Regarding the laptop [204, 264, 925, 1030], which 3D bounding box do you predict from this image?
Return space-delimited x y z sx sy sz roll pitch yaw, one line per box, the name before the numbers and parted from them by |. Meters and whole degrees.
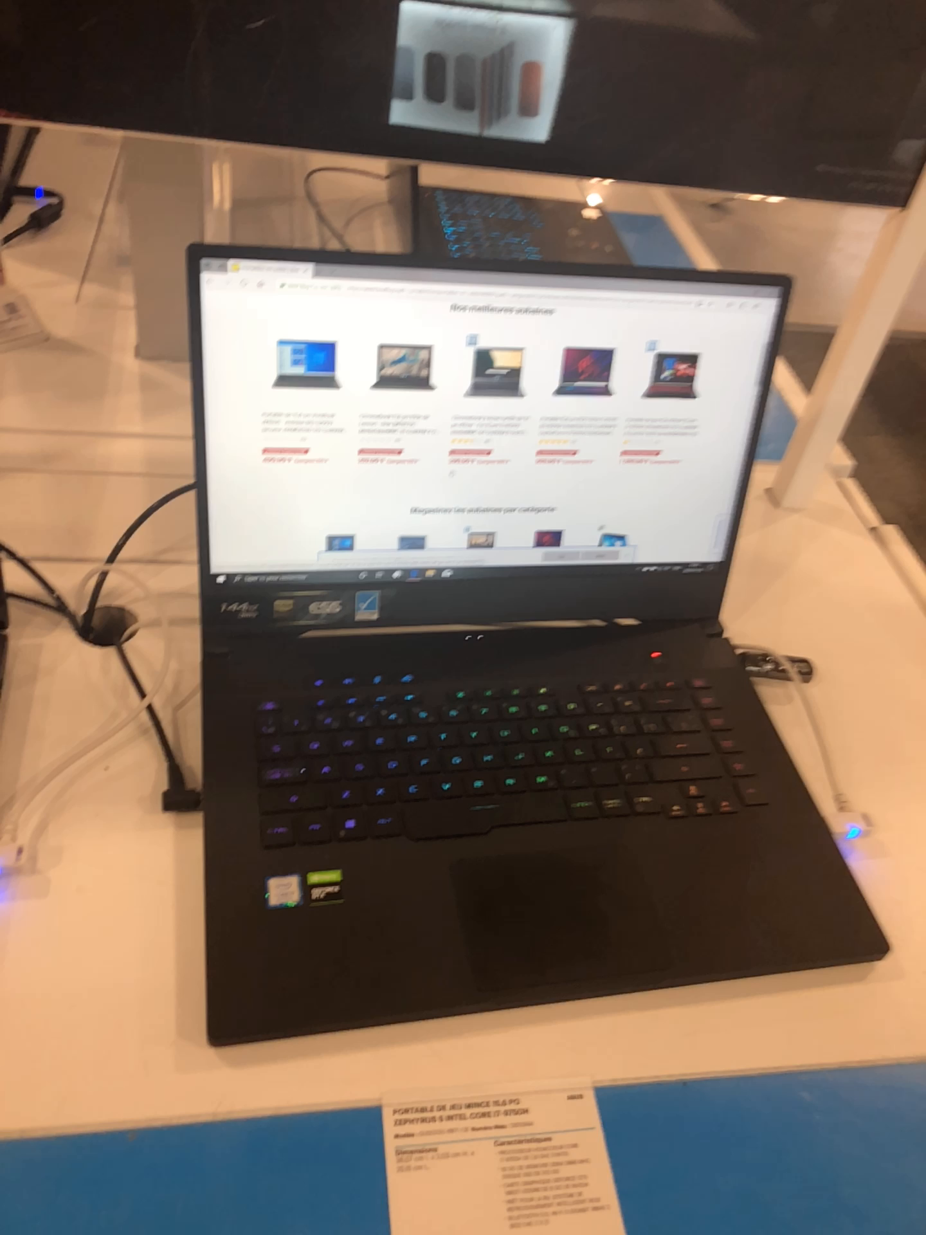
laptop | 0.044 -0.007 0.527 0.340 0.207 0.316 -1 44 -12
